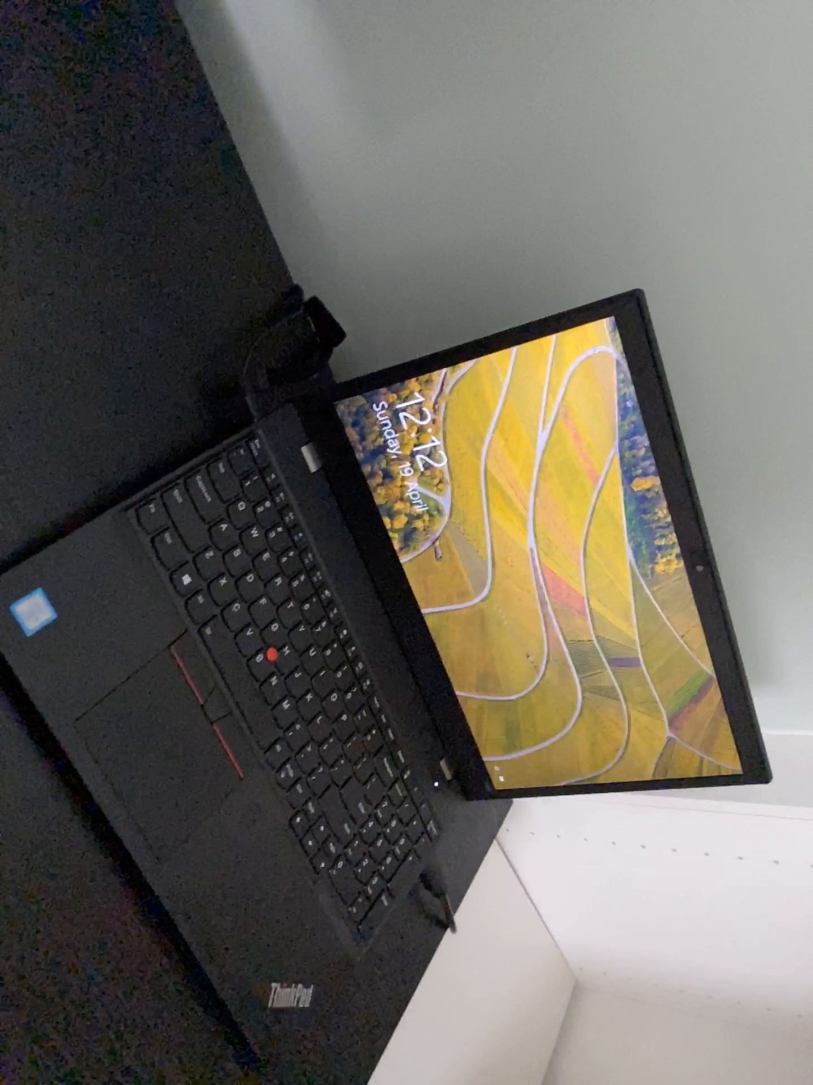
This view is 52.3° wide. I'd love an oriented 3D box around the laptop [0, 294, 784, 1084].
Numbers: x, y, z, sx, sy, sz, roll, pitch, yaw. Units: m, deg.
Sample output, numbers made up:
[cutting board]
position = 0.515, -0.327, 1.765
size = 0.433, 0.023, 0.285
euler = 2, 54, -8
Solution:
[laptop]
position = 0.031, 0.096, 0.487
size = 0.295, 0.231, 0.351
euler = -44, 119, -45
